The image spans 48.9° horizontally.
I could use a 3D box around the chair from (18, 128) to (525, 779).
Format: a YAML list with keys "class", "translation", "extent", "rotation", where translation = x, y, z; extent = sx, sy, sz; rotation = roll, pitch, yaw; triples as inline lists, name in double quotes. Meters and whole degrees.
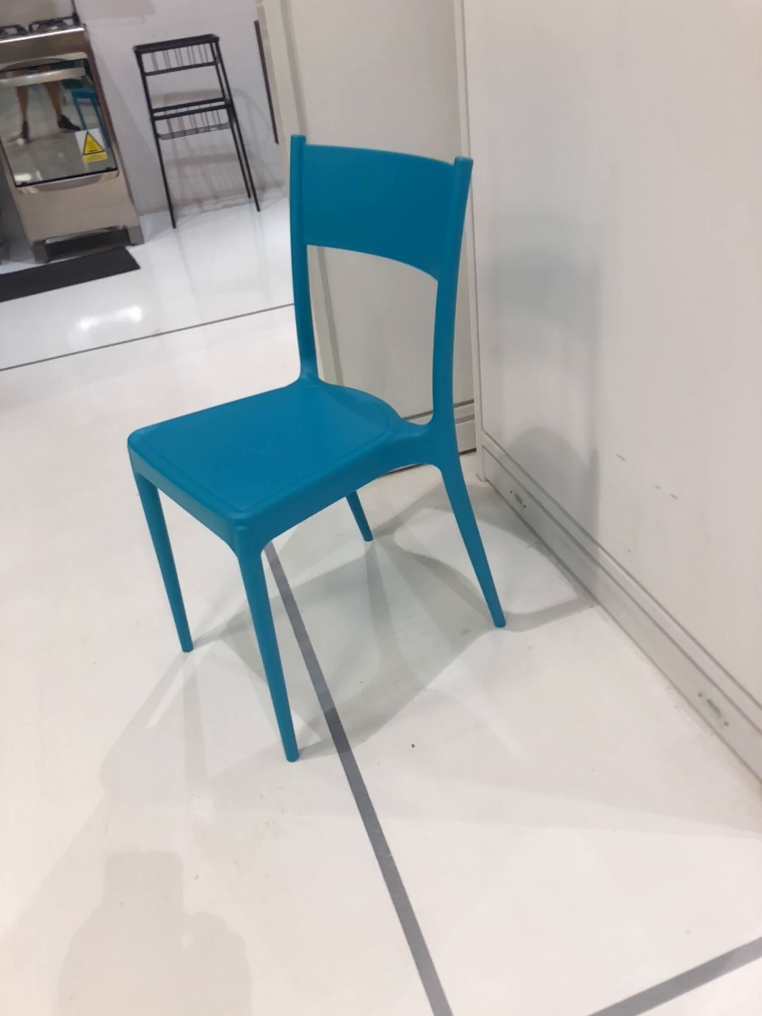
- class: "chair"
  translation: [-0.119, -0.109, 1.323]
  extent: [0.511, 0.794, 0.432]
  rotation: [-27, 37, -28]
